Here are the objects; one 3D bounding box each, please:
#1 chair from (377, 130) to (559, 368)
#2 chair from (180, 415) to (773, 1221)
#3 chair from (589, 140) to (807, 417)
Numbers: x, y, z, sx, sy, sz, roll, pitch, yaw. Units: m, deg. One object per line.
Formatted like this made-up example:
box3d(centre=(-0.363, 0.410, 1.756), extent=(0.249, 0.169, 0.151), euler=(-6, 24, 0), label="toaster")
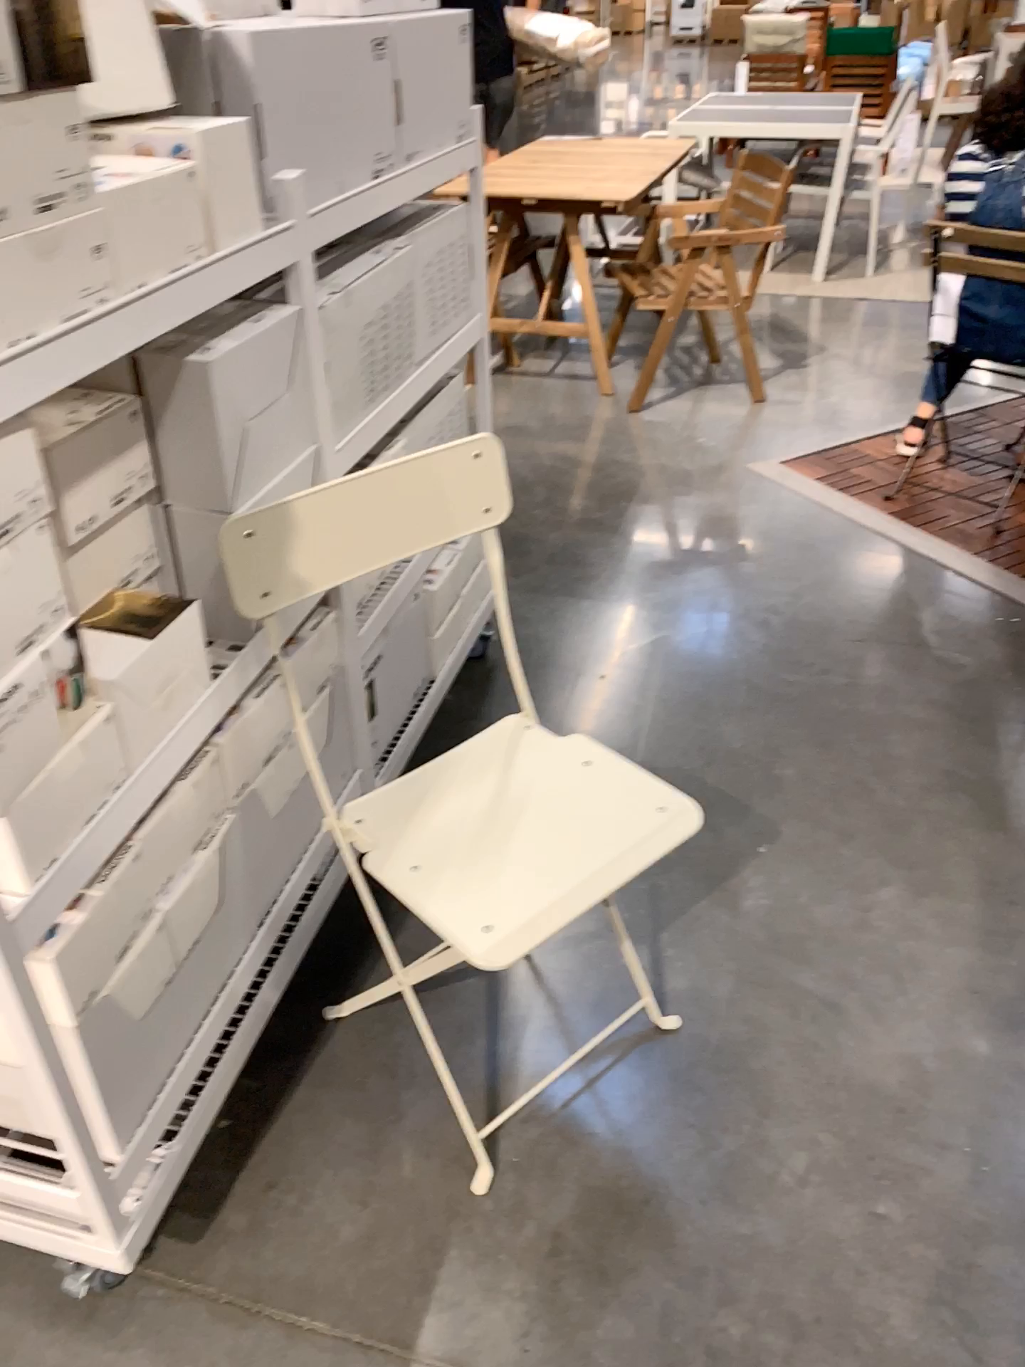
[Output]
box3d(centre=(-0.147, -1.725, 4.156), extent=(0.547, 0.763, 0.540), euler=(8, 34, 14), label="chair")
box3d(centre=(-0.037, 0.151, 1.330), extent=(0.438, 0.783, 0.459), euler=(-27, 41, -34), label="chair")
box3d(centre=(0.599, -1.416, 3.654), extent=(0.547, 0.763, 0.590), euler=(-5, 33, -6), label="chair")
